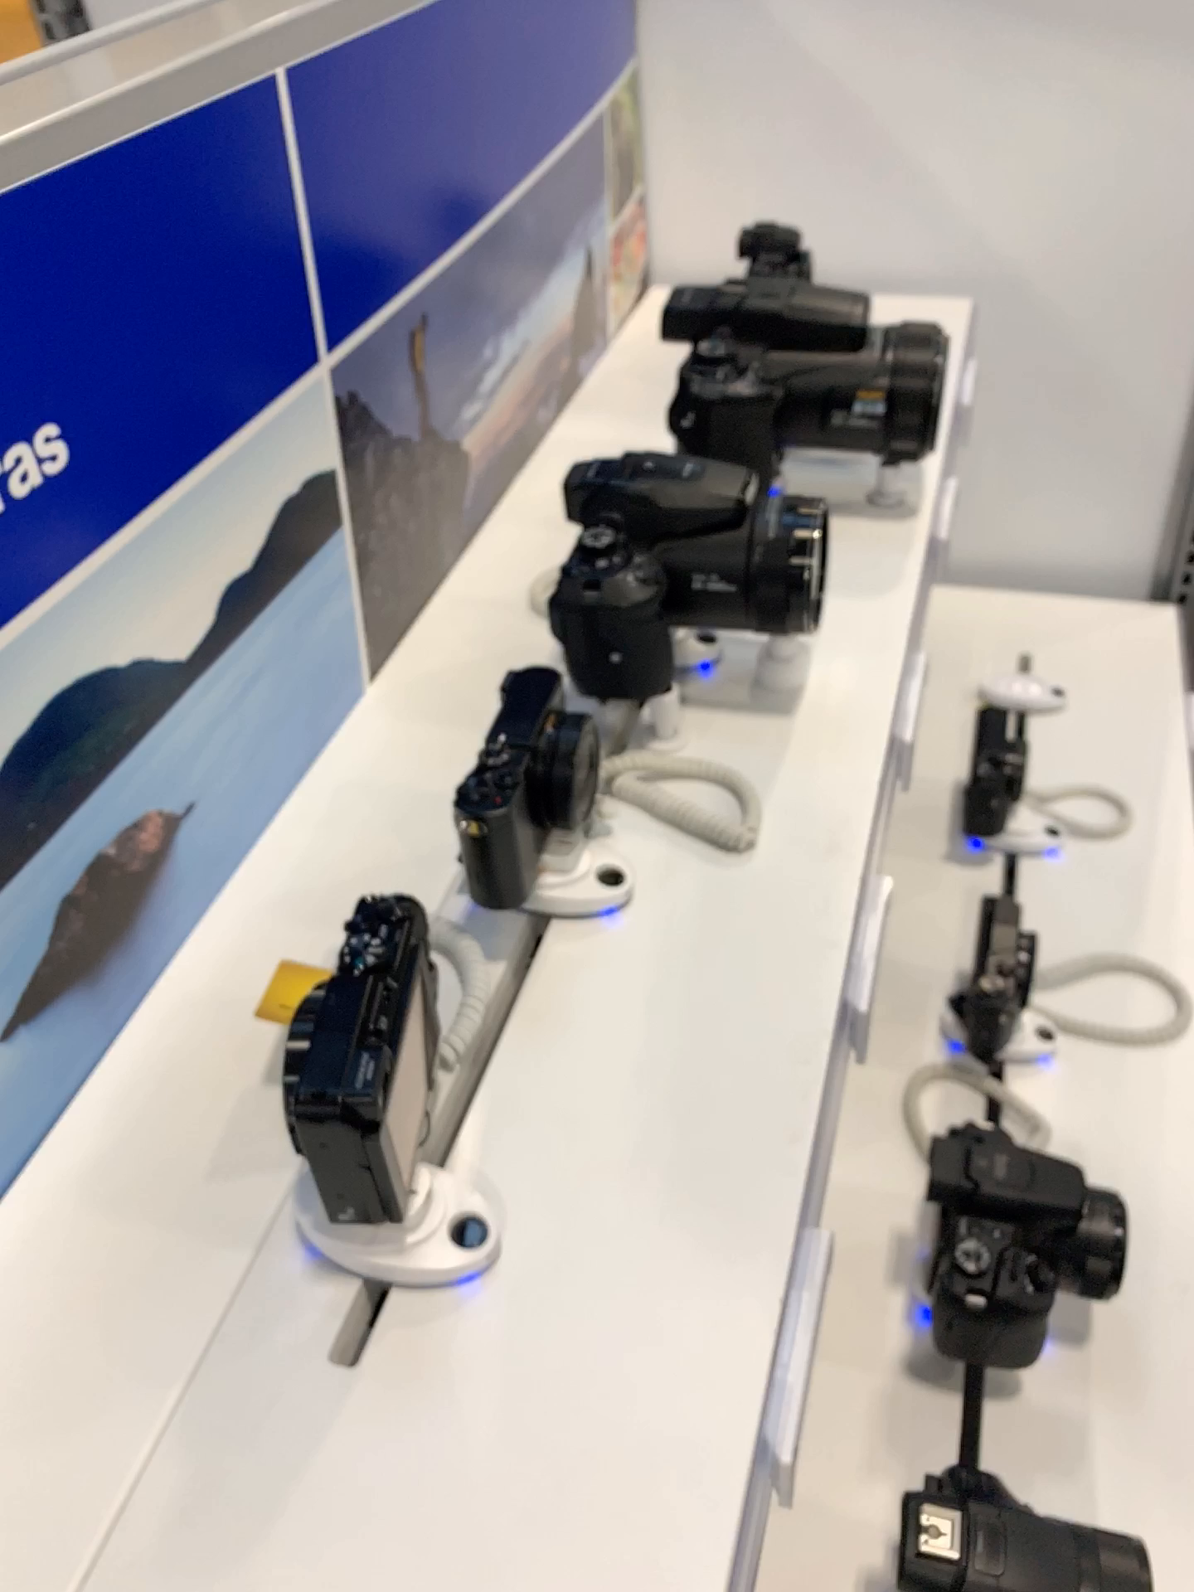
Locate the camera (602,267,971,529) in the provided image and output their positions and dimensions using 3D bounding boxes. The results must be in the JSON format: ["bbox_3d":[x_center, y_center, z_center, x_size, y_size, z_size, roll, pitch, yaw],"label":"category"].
[{"bbox_3d":[0.134,-0.276,0.850,0.220,0.109,0.161,5,42,14],"label":"camera"}]

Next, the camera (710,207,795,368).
[{"bbox_3d":[0.133,-0.430,1.050,0.060,0.089,0.121,3,42,11],"label":"camera"}]

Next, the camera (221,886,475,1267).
[{"bbox_3d":[-0.088,0.102,0.471,0.050,0.070,0.121,1,41,9],"label":"camera"}]

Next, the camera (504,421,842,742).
[{"bbox_3d":[0.050,-0.126,0.698,0.150,0.099,0.161,6,43,15],"label":"camera"}]

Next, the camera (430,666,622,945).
[{"bbox_3d":[-0.029,0.002,0.580,0.050,0.070,0.111,6,43,15],"label":"camera"}]
